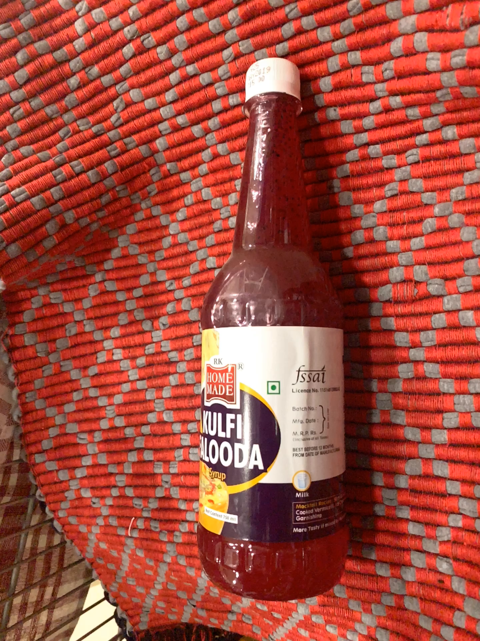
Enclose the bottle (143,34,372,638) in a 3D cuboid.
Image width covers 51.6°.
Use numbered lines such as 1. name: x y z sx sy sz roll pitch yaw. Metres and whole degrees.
1. bottle: 0.016 0.001 0.251 0.070 0.070 0.250 -3 77 36
